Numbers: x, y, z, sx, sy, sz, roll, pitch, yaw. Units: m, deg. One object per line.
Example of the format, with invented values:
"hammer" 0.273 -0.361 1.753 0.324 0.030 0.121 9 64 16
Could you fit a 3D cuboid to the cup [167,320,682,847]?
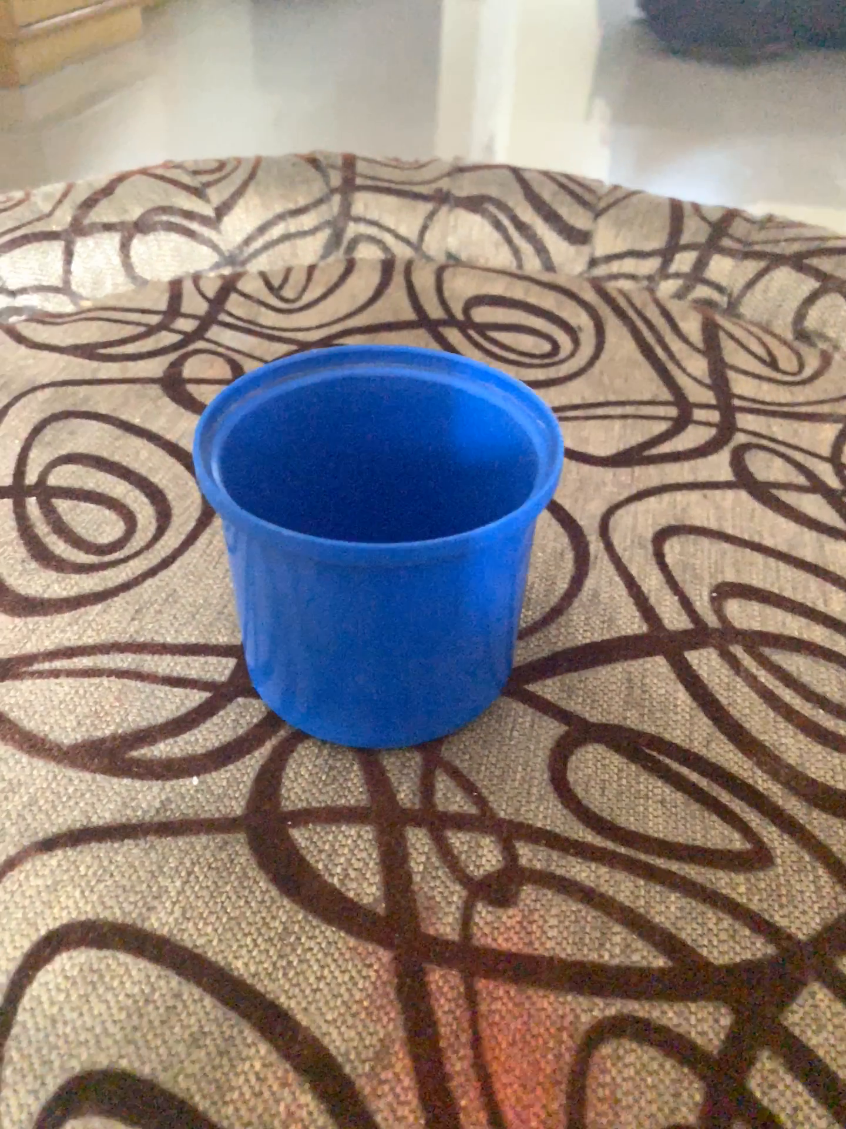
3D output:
"cup" -0.005 -0.001 0.205 0.080 0.069 0.081 2 40 -1
